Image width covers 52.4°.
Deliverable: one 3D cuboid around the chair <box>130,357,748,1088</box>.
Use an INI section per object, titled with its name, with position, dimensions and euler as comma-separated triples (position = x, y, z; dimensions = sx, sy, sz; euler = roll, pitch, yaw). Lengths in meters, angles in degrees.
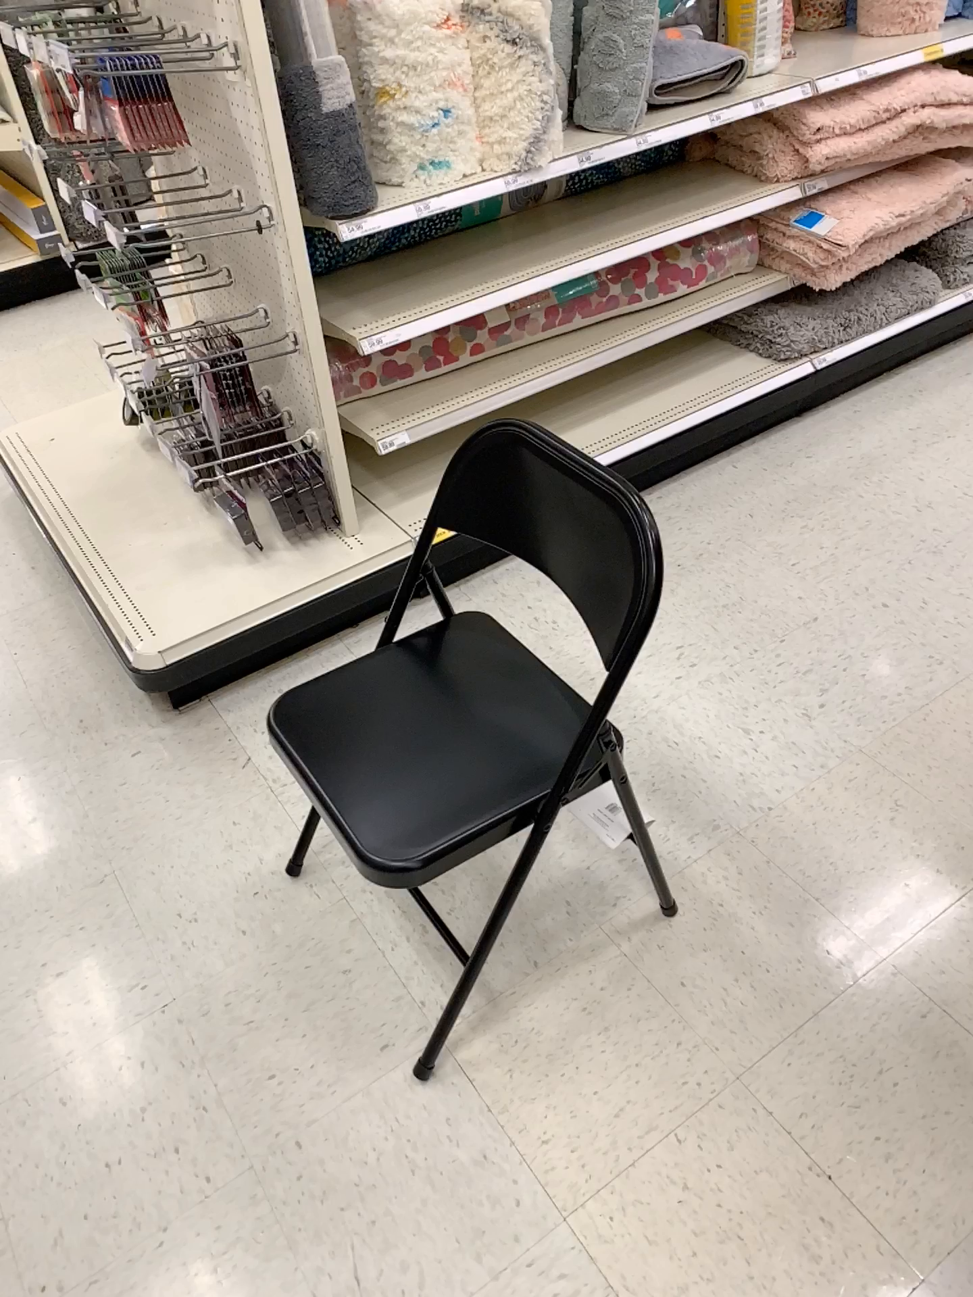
[chair]
position = -0.044, 0.092, 1.387
dimensions = 0.550, 0.716, 0.492
euler = -27, 45, -22
